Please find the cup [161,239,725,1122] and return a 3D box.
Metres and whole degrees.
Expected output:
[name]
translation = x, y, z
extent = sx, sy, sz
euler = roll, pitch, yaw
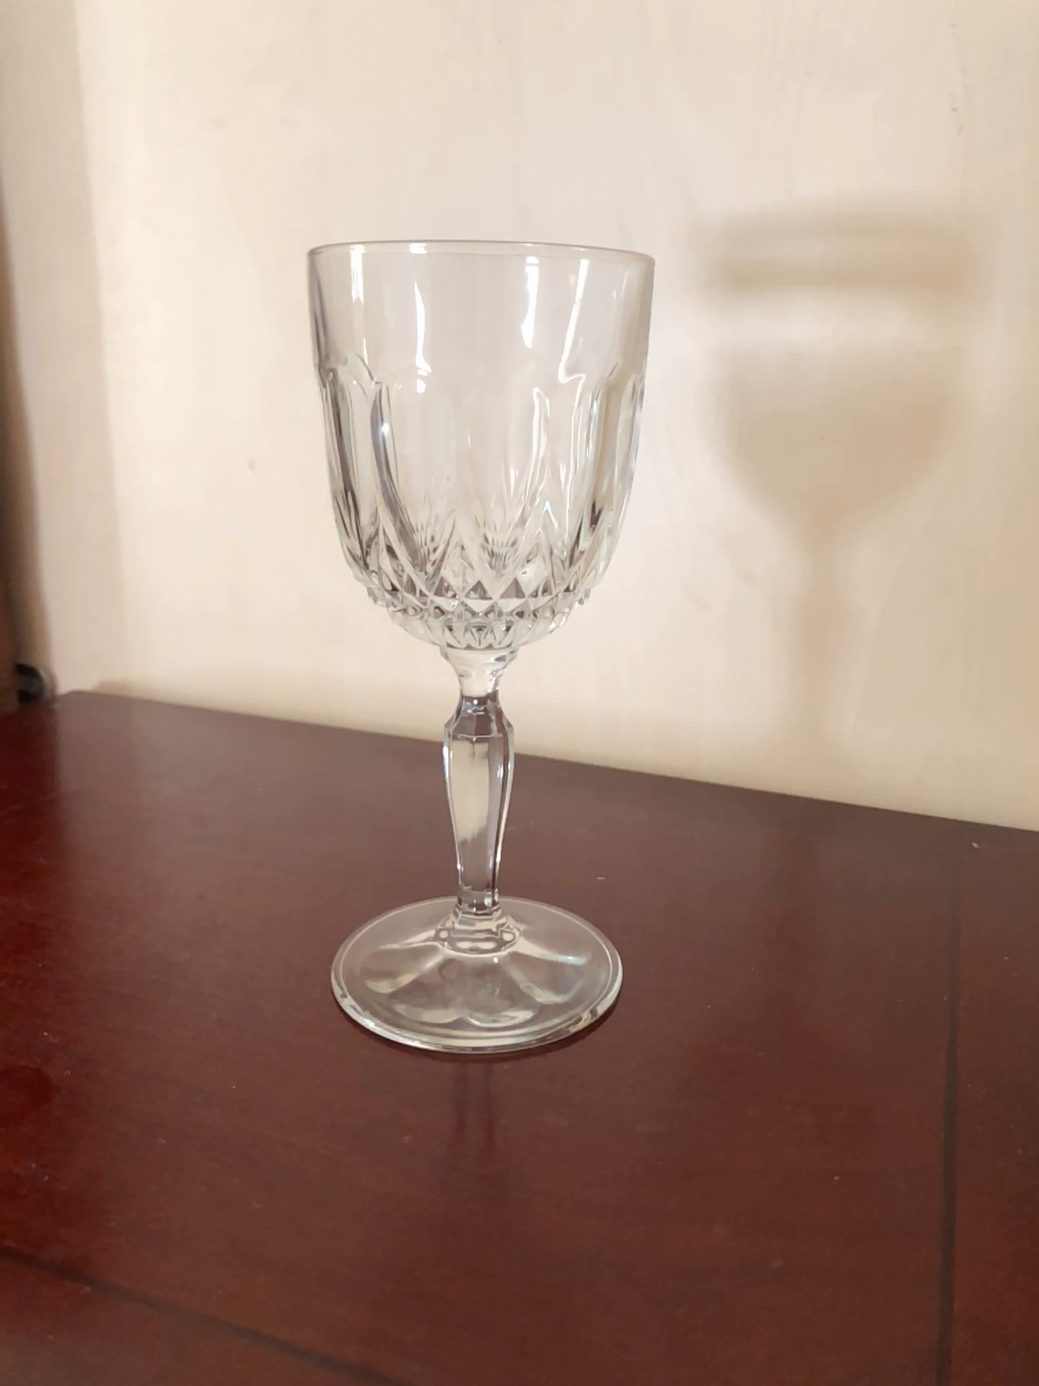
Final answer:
[cup]
translation = -0.013, -0.011, 0.284
extent = 0.095, 0.179, 0.092
euler = 1, 16, 0
